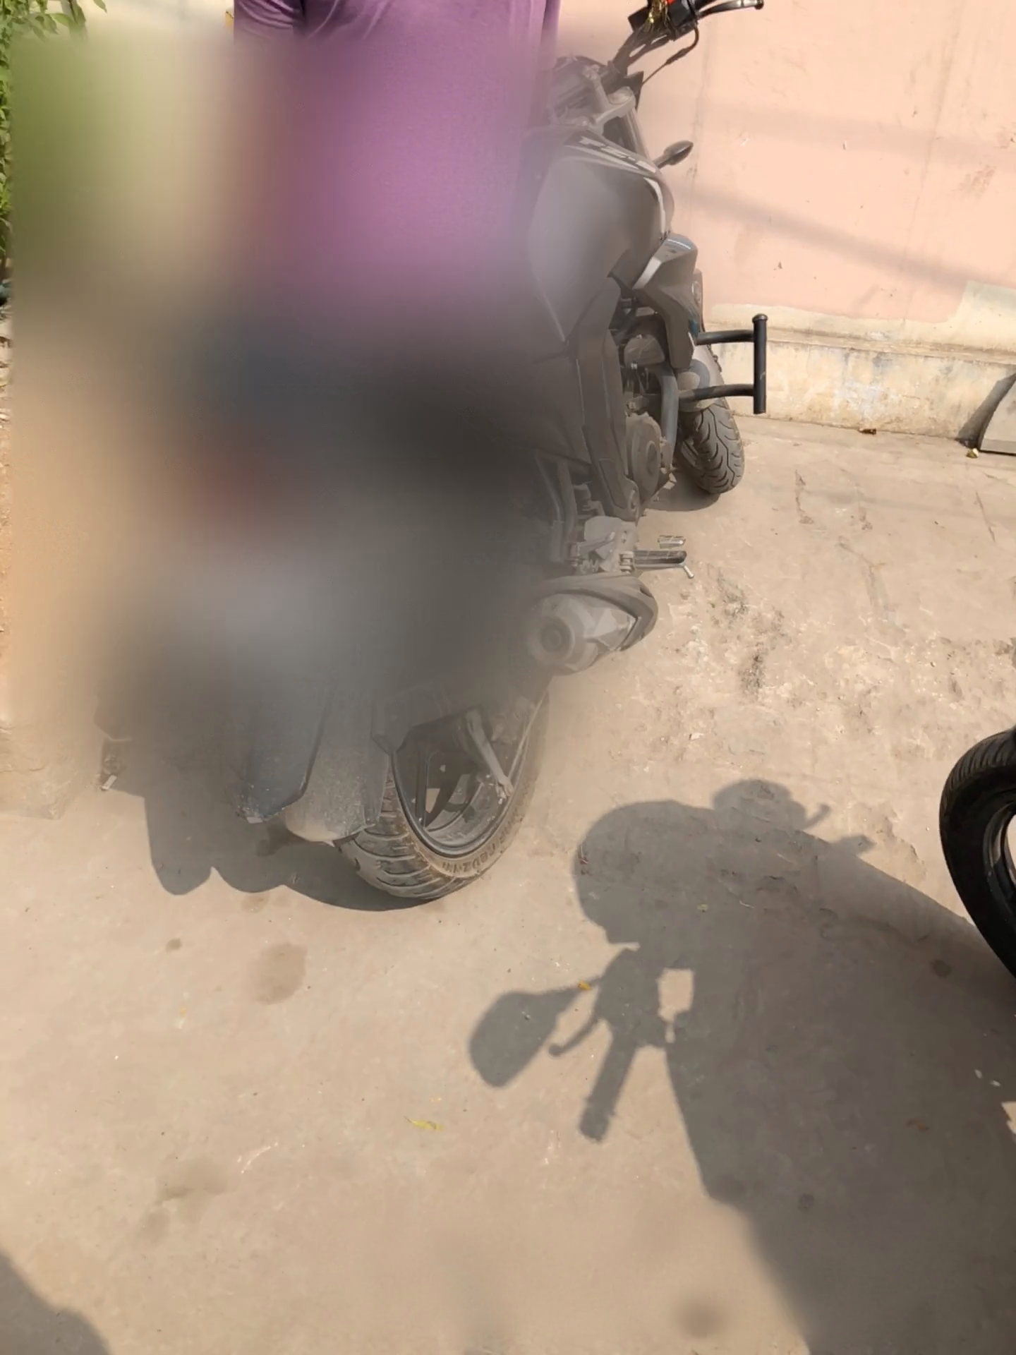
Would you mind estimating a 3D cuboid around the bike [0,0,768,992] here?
[{"bbox_3d":[-0.110,-0.746,2.032,0.808,1.222,1.838,11,40,11],"label":"bike"}]
